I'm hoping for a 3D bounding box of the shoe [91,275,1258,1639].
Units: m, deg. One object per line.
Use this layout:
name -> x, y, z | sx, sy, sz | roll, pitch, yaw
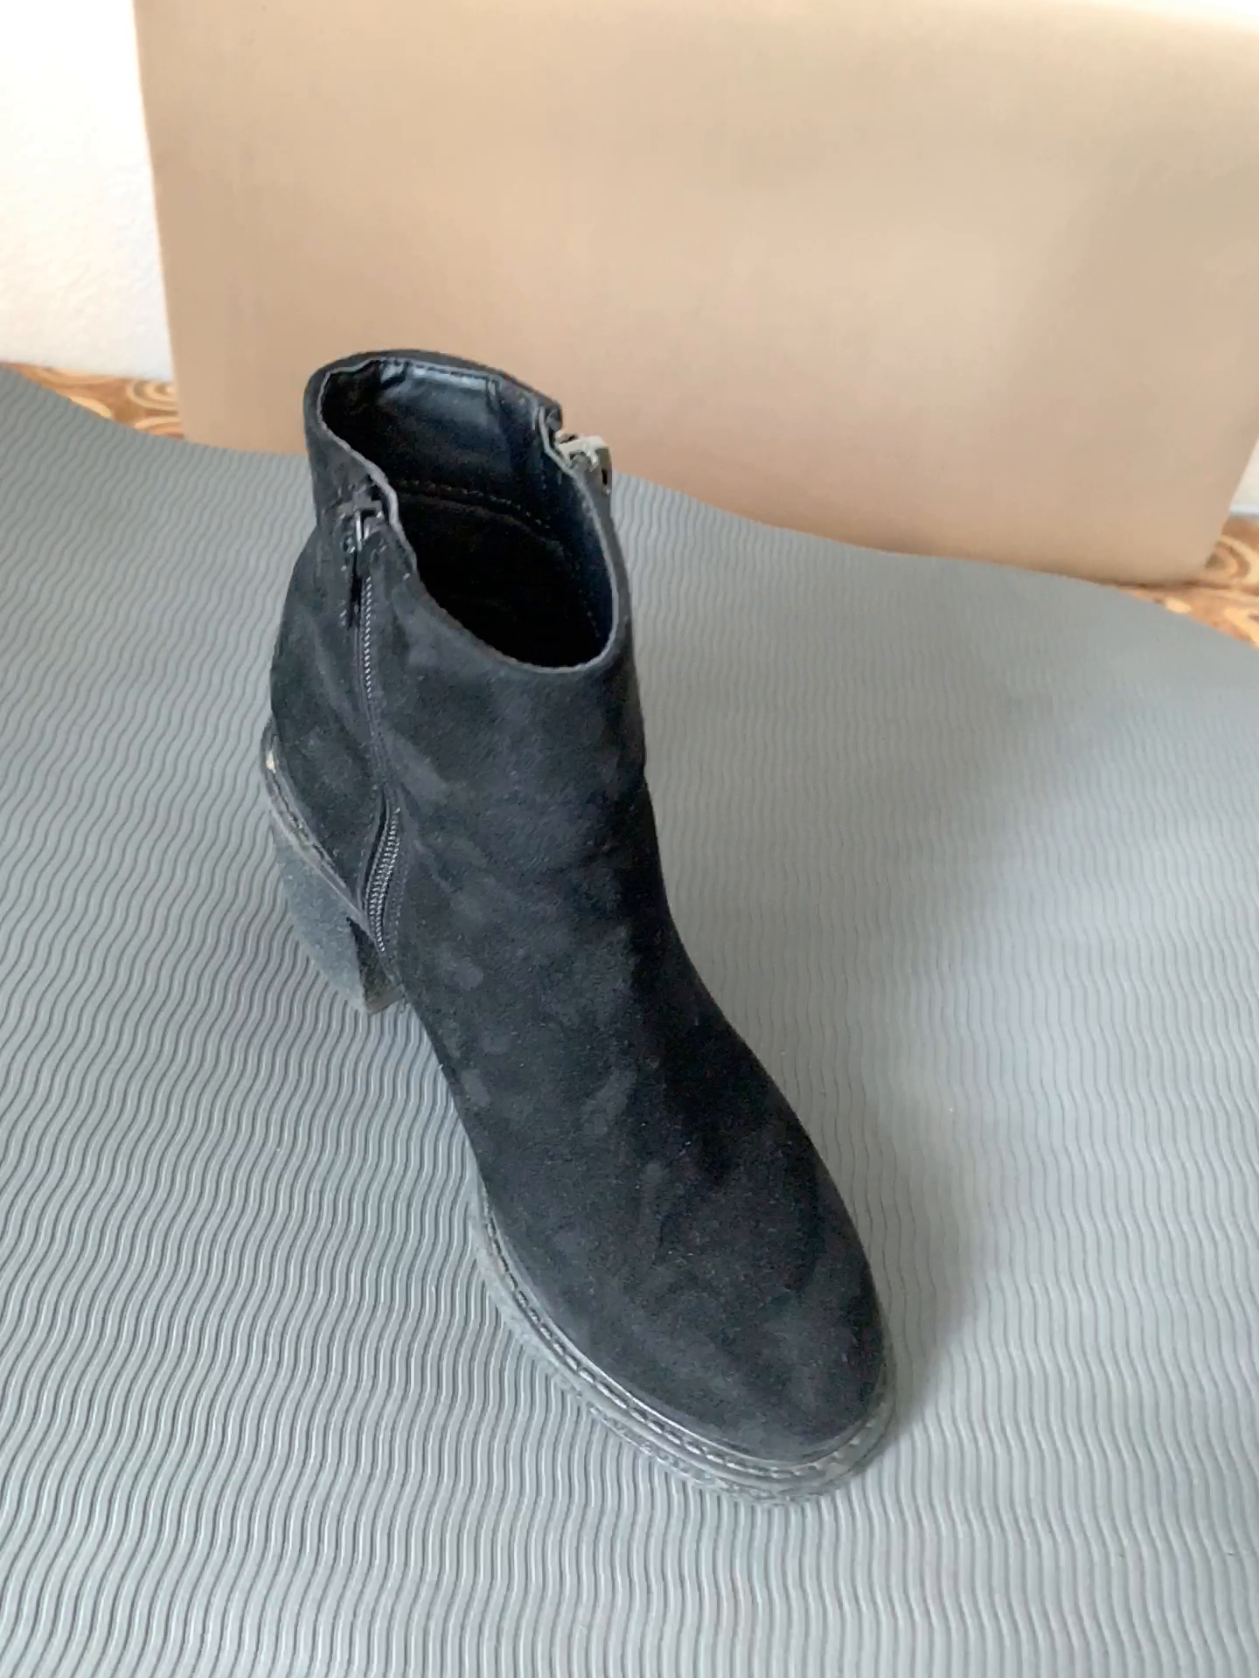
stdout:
shoe -> -0.011, 0.014, 0.298 | 0.098, 0.179, 0.241 | -25, 53, -30
